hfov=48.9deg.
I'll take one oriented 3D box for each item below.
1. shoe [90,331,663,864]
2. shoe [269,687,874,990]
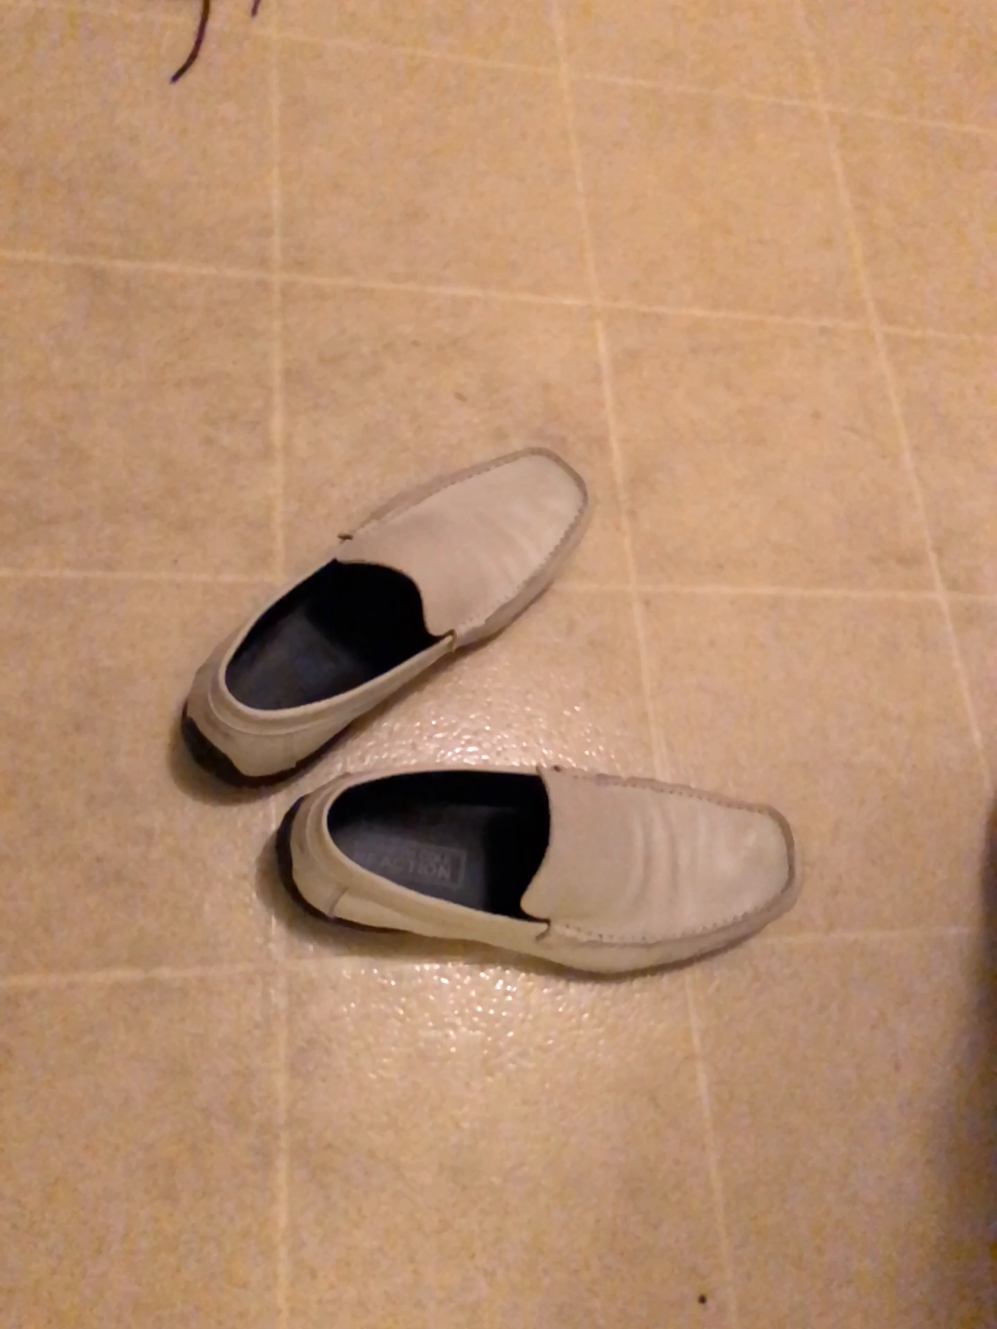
[{"bbox_3d":[-0.059,-0.044,0.612,0.110,0.097,0.307,45,65,7],"label":"shoe"},{"bbox_3d":[0.034,0.098,0.574,0.289,0.097,0.111,7,67,-10],"label":"shoe"}]
